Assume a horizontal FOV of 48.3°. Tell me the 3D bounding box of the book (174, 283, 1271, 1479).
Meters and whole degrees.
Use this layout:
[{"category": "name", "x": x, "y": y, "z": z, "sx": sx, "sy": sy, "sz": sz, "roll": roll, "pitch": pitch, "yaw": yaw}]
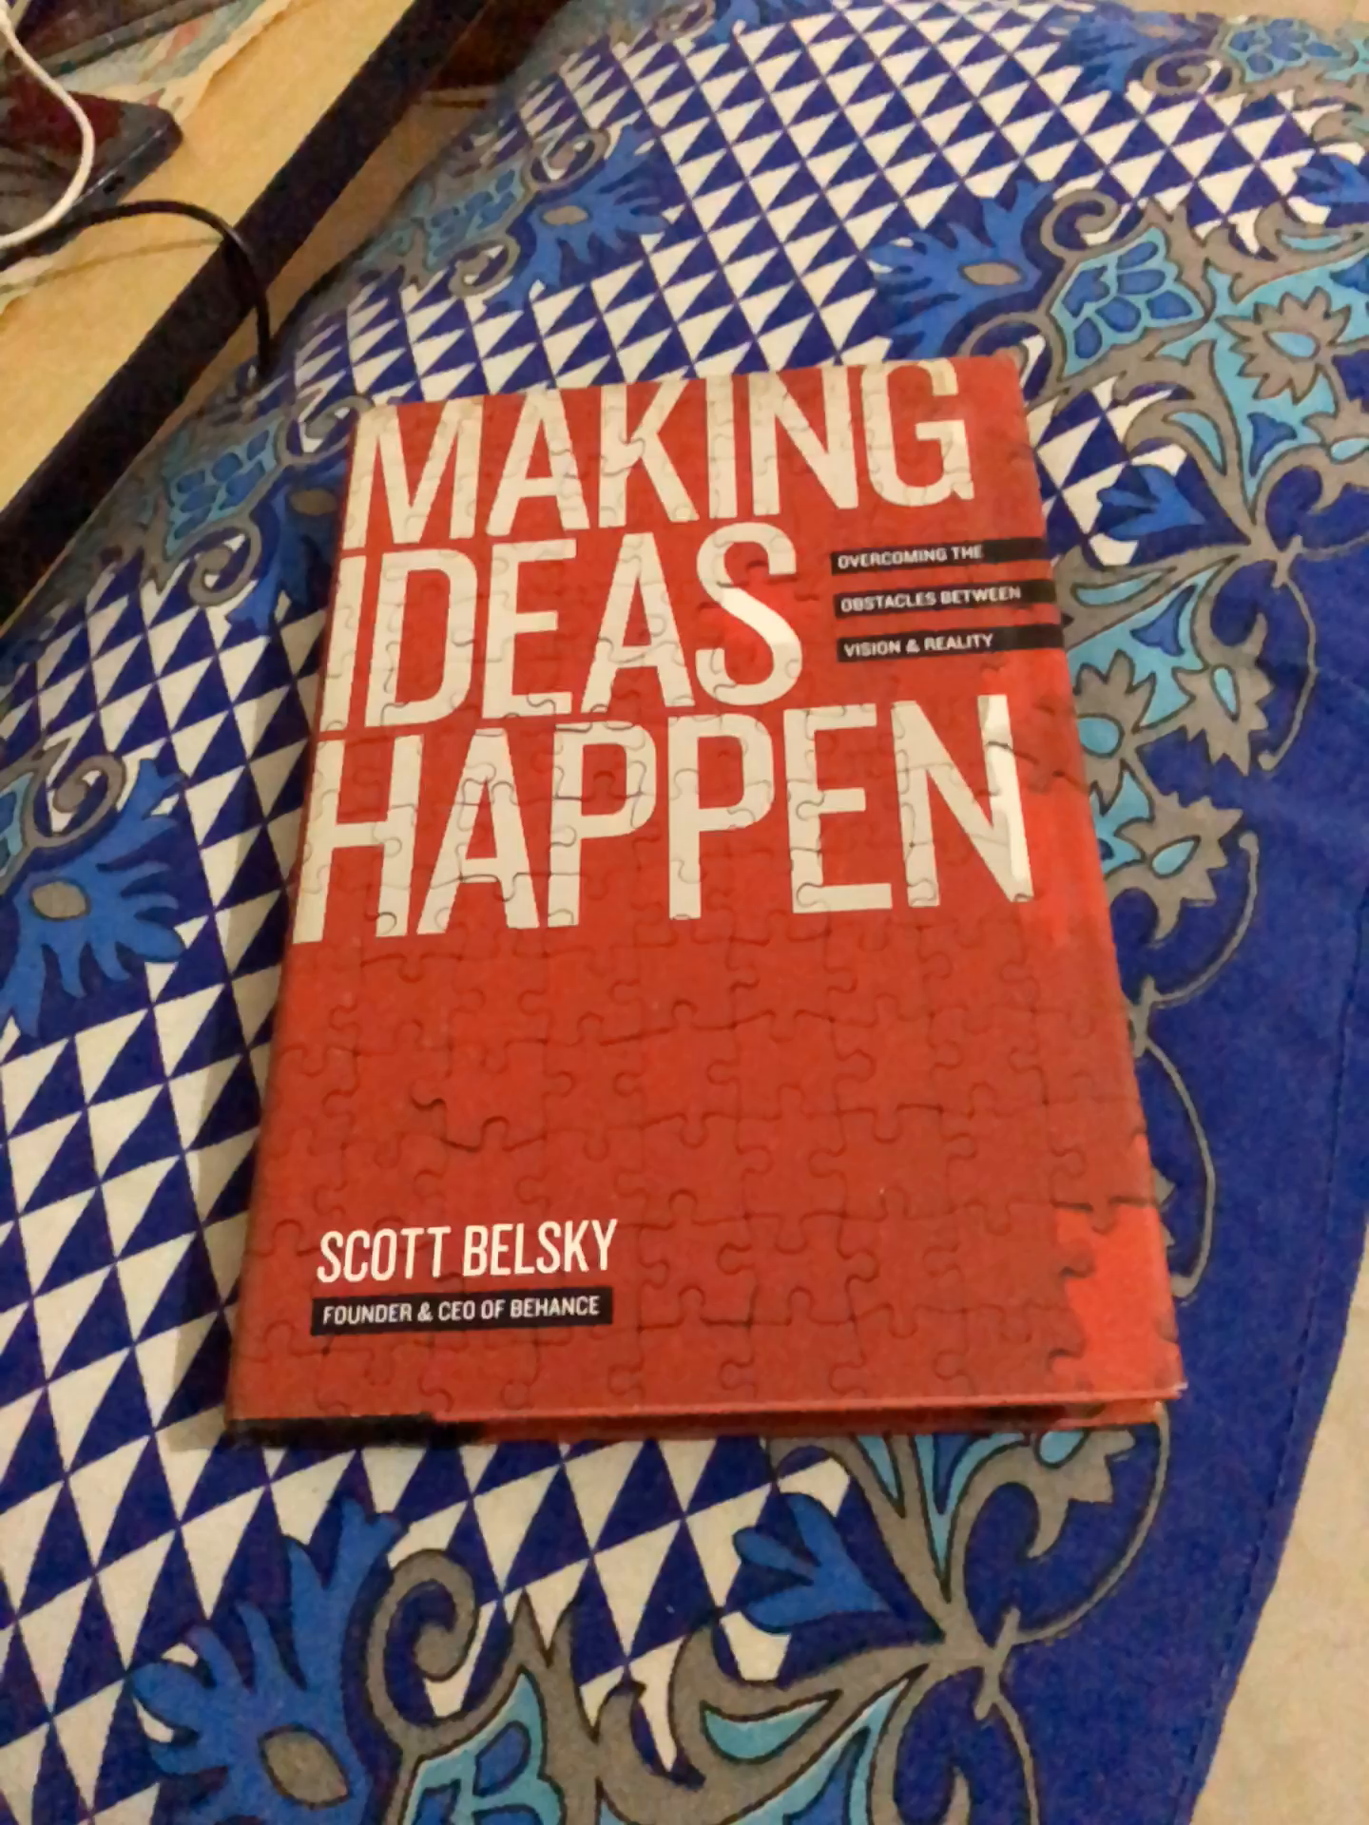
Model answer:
[{"category": "book", "x": 0.003, "y": -0.025, "z": 0.301, "sx": 0.160, "sy": 0.030, "sz": 0.251, "roll": -3, "pitch": 58, "yaw": 5}]
